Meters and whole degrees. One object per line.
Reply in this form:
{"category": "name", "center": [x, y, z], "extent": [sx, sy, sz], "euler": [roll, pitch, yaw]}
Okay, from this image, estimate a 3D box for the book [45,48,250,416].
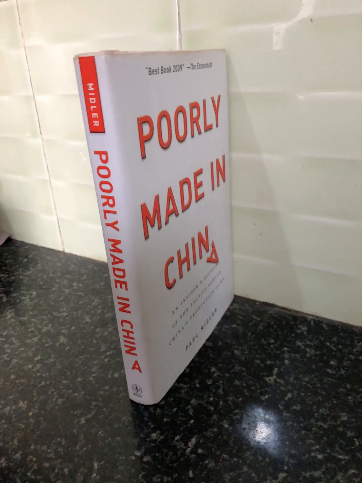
{"category": "book", "center": [0.001, -0.025, 0.309], "extent": [0.040, 0.219, 0.191], "euler": [9, 27, 26]}
